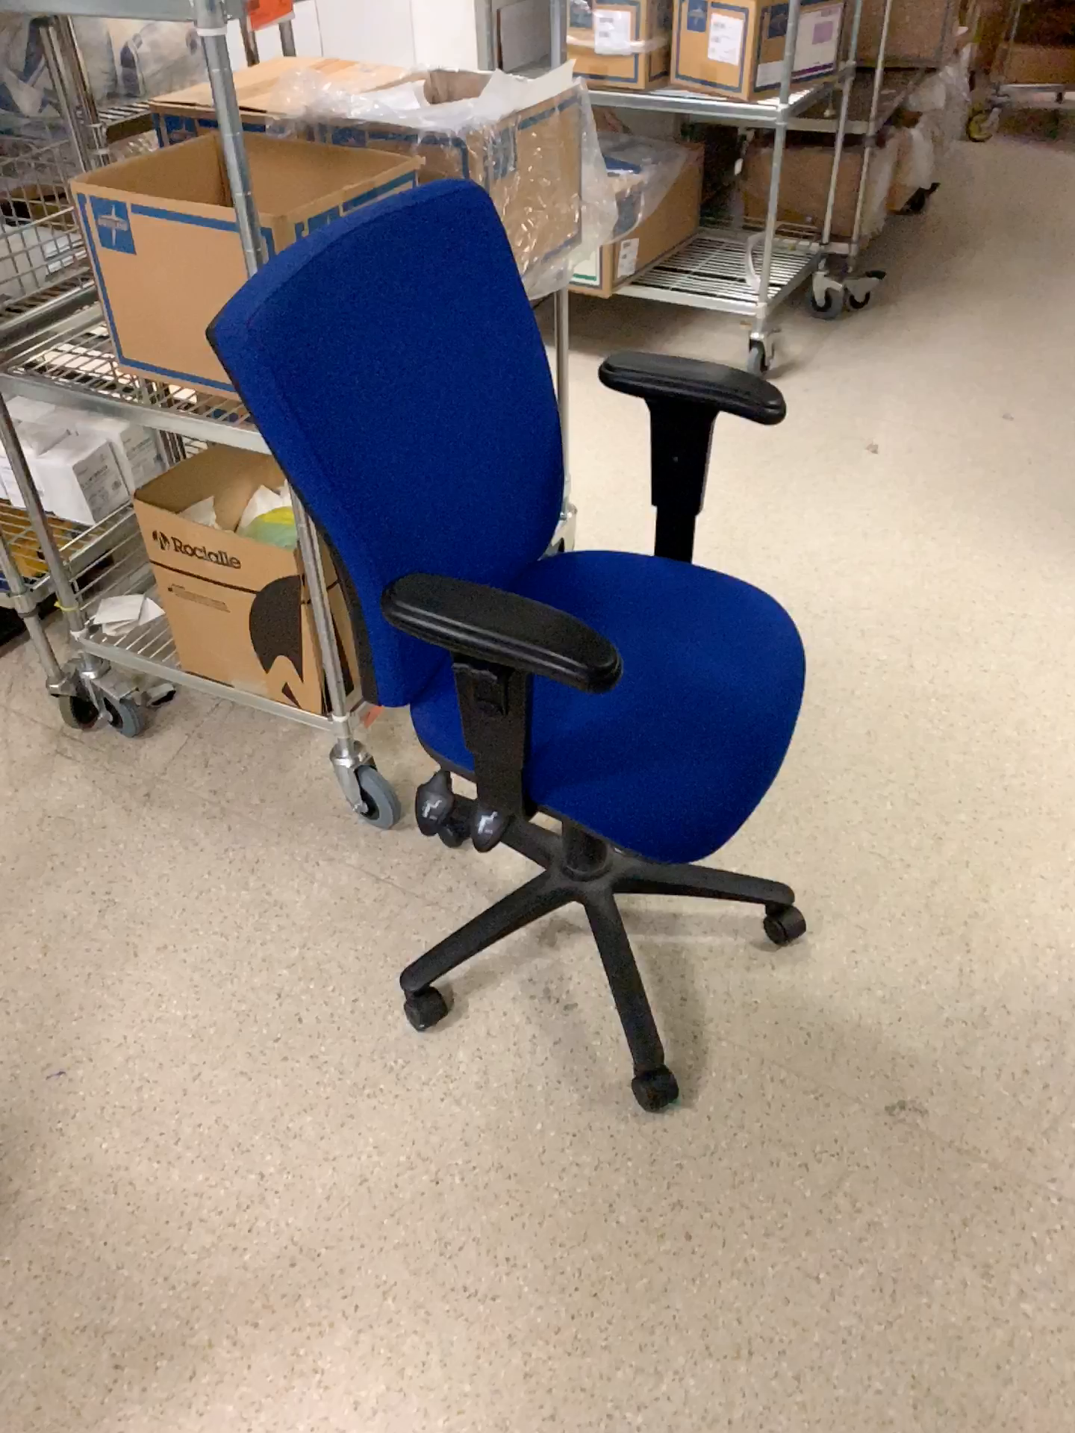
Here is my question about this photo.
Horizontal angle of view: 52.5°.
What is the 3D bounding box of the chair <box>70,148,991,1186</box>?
[{"bbox_3d":[0.050,-0.085,1.377,0.667,0.949,0.683,18,44,22],"label":"chair"}]
